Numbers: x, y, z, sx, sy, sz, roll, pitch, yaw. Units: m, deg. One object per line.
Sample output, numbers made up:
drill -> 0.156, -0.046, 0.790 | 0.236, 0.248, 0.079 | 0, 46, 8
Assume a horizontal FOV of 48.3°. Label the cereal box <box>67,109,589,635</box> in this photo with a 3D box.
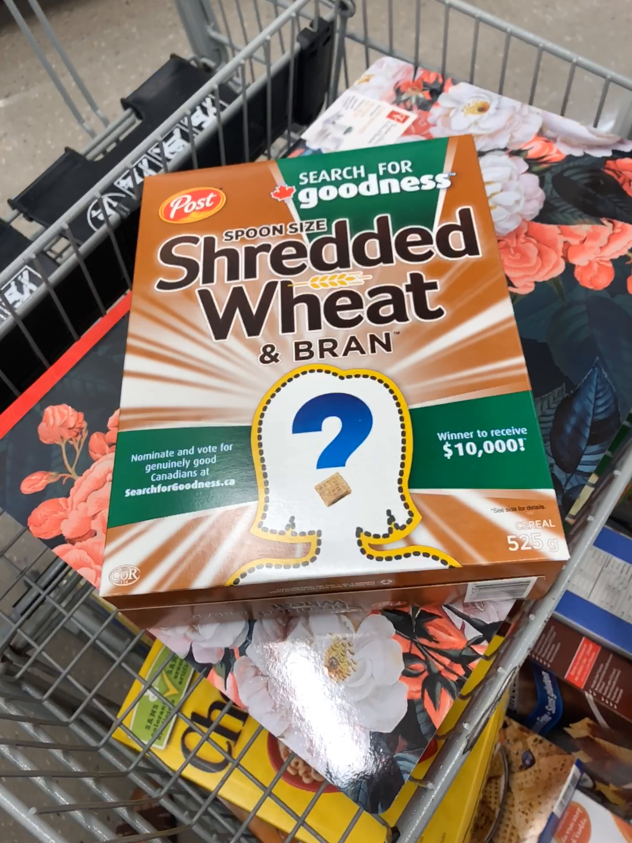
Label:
cereal box -> -0.001, -0.045, 0.405 | 0.220, 0.070, 0.300 | -5, 58, 2
